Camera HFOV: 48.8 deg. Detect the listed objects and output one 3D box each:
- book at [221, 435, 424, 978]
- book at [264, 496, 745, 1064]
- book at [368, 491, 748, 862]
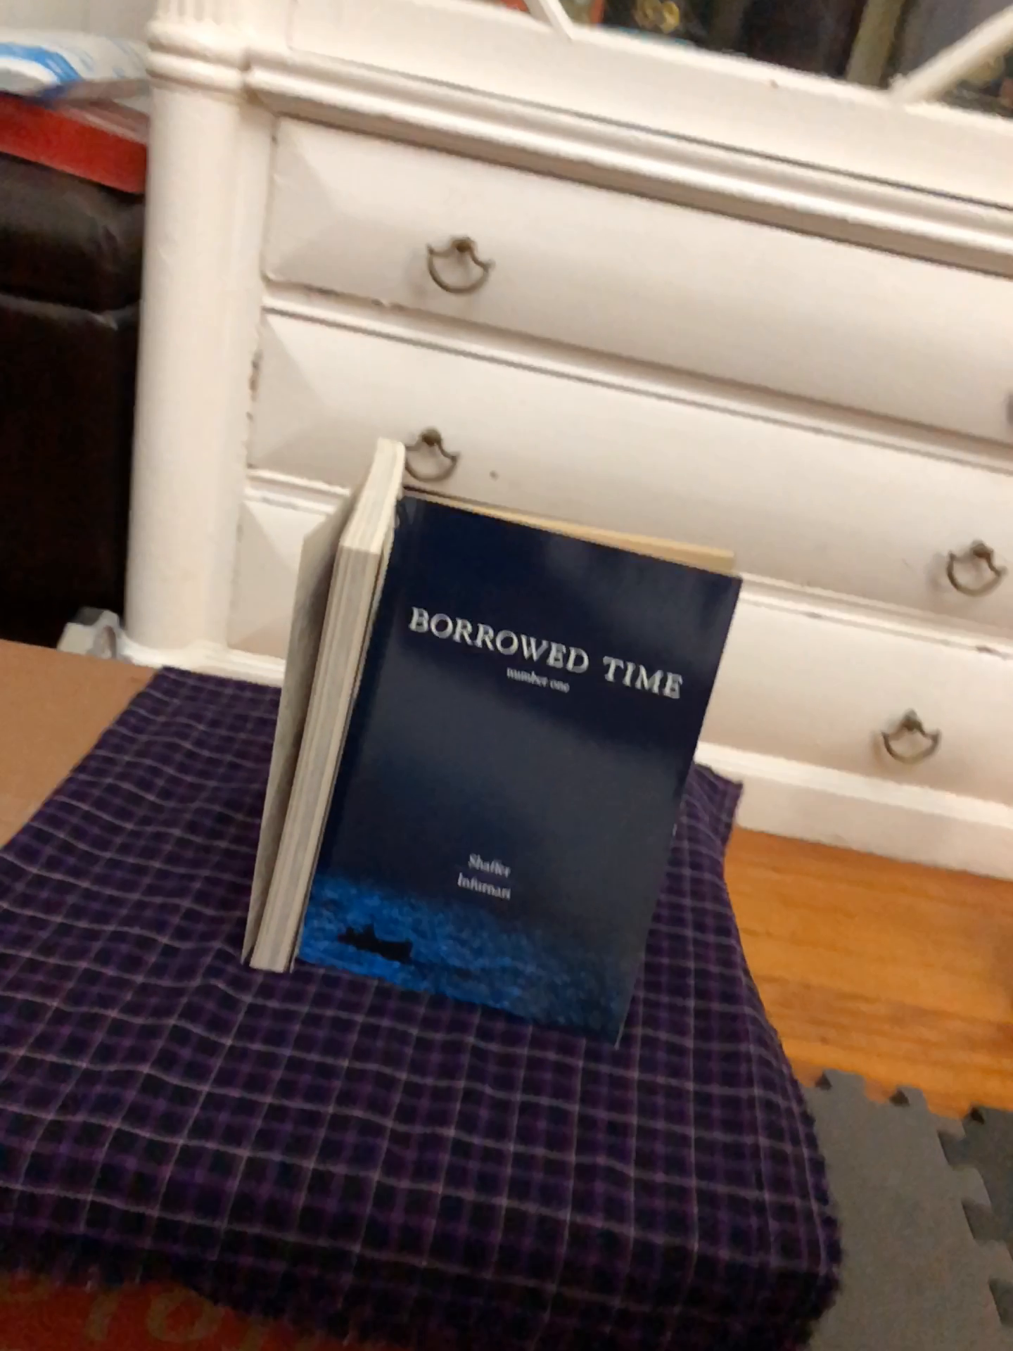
[{"bbox_3d":[-0.076,0.008,0.475,0.020,0.189,0.141,16,25,-7],"label":"book"},{"bbox_3d":[-0.002,0.043,0.450,0.150,0.200,0.010,13,5,-1],"label":"book"},{"bbox_3d":[0.013,0.012,0.515,0.140,0.199,0.010,10,44,-2],"label":"book"}]
